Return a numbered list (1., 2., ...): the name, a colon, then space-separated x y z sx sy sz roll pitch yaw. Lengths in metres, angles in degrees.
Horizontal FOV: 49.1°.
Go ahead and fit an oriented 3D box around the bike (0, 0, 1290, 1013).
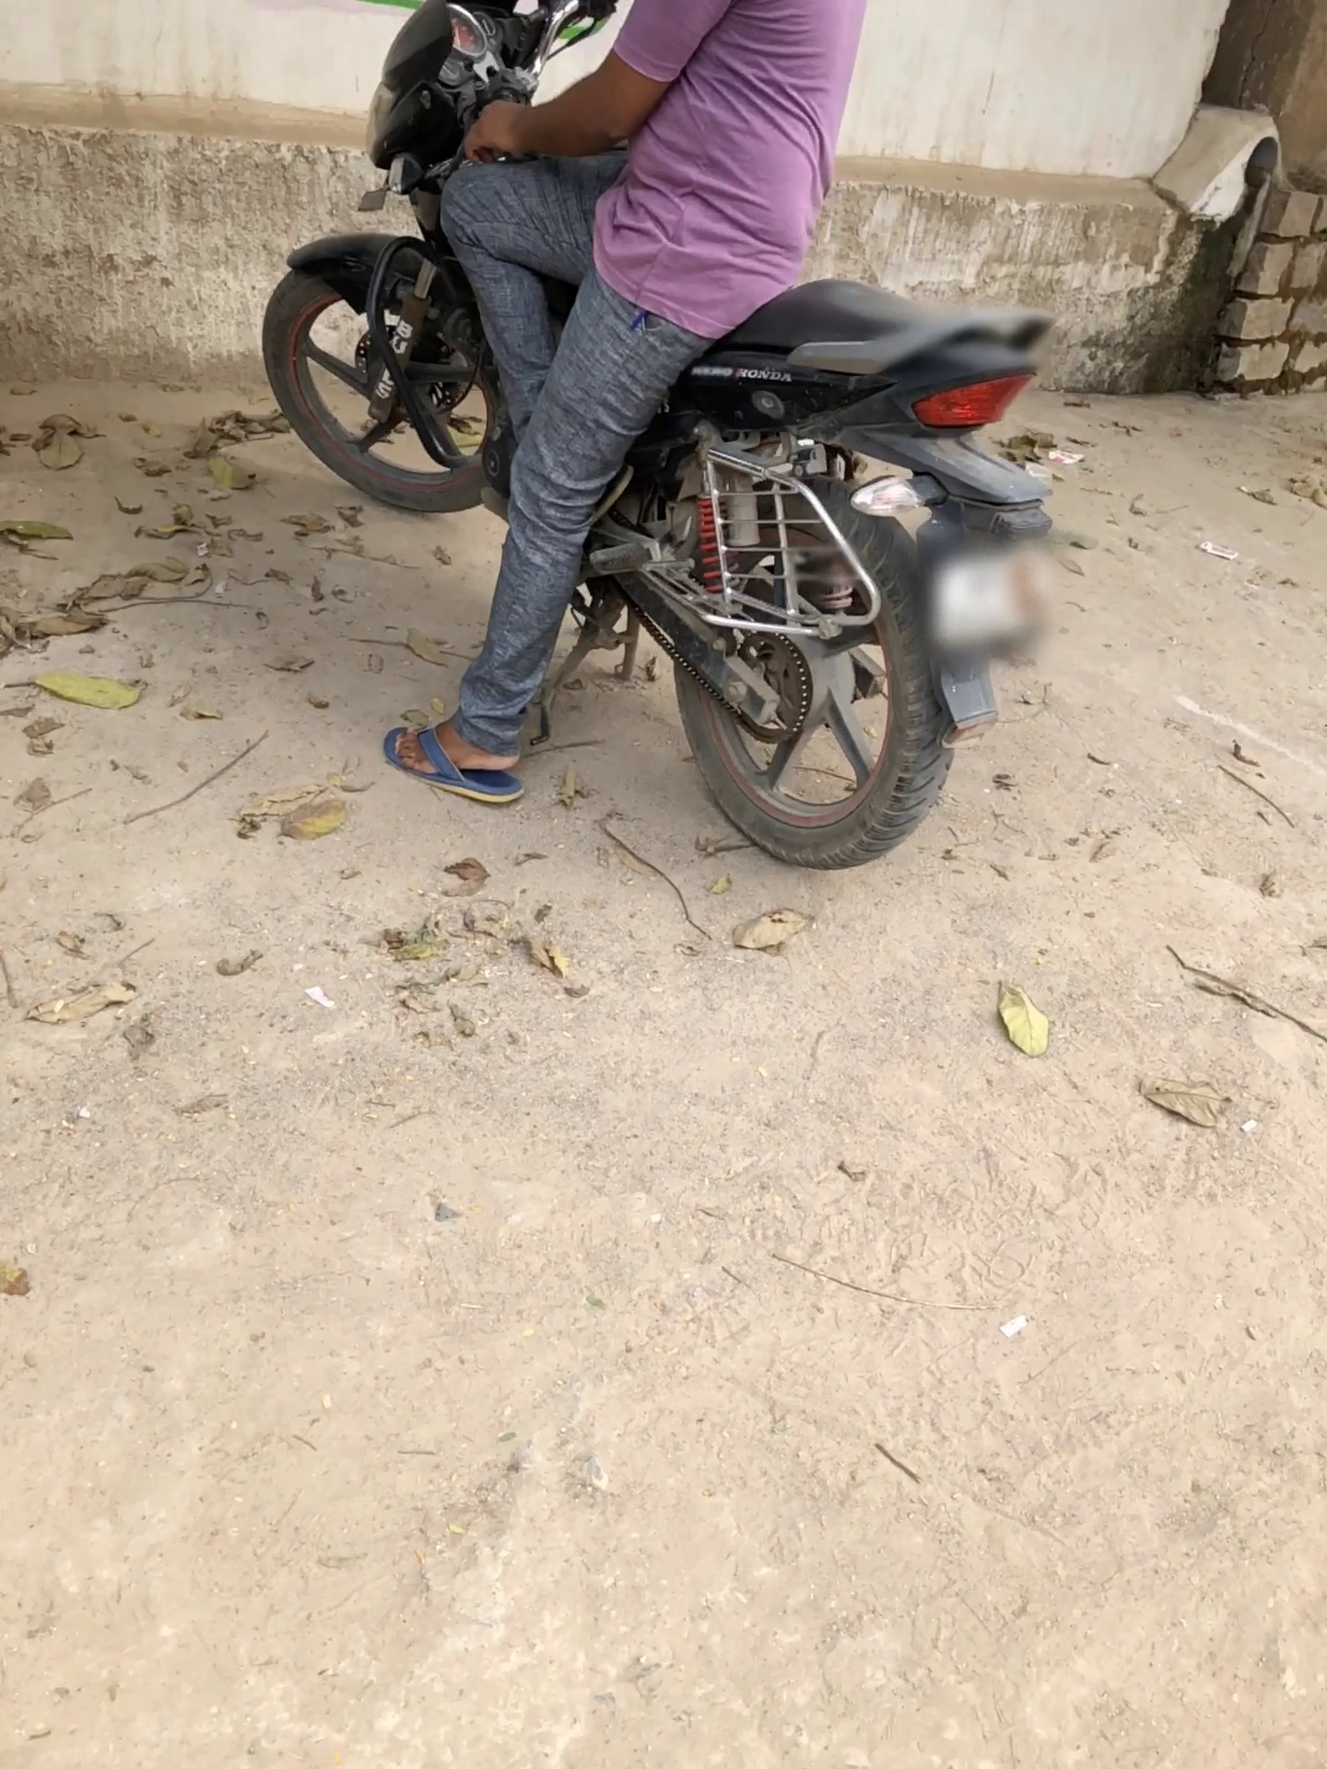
1. bike: -0.211 -0.909 2.431 0.828 1.189 1.840 -24 48 -38
